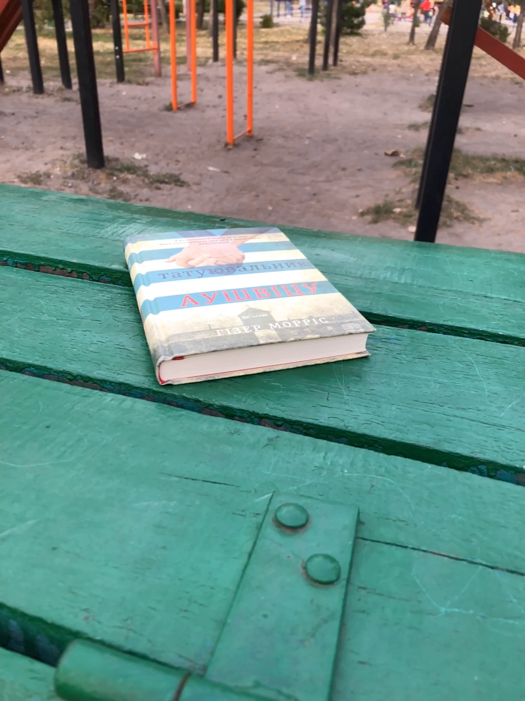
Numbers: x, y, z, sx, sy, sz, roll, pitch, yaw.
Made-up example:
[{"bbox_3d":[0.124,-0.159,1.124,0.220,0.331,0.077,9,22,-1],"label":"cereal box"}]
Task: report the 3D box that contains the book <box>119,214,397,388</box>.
[{"bbox_3d":[-0.020,-0.053,0.439,0.152,0.025,0.219,-7,32,-16],"label":"book"}]
